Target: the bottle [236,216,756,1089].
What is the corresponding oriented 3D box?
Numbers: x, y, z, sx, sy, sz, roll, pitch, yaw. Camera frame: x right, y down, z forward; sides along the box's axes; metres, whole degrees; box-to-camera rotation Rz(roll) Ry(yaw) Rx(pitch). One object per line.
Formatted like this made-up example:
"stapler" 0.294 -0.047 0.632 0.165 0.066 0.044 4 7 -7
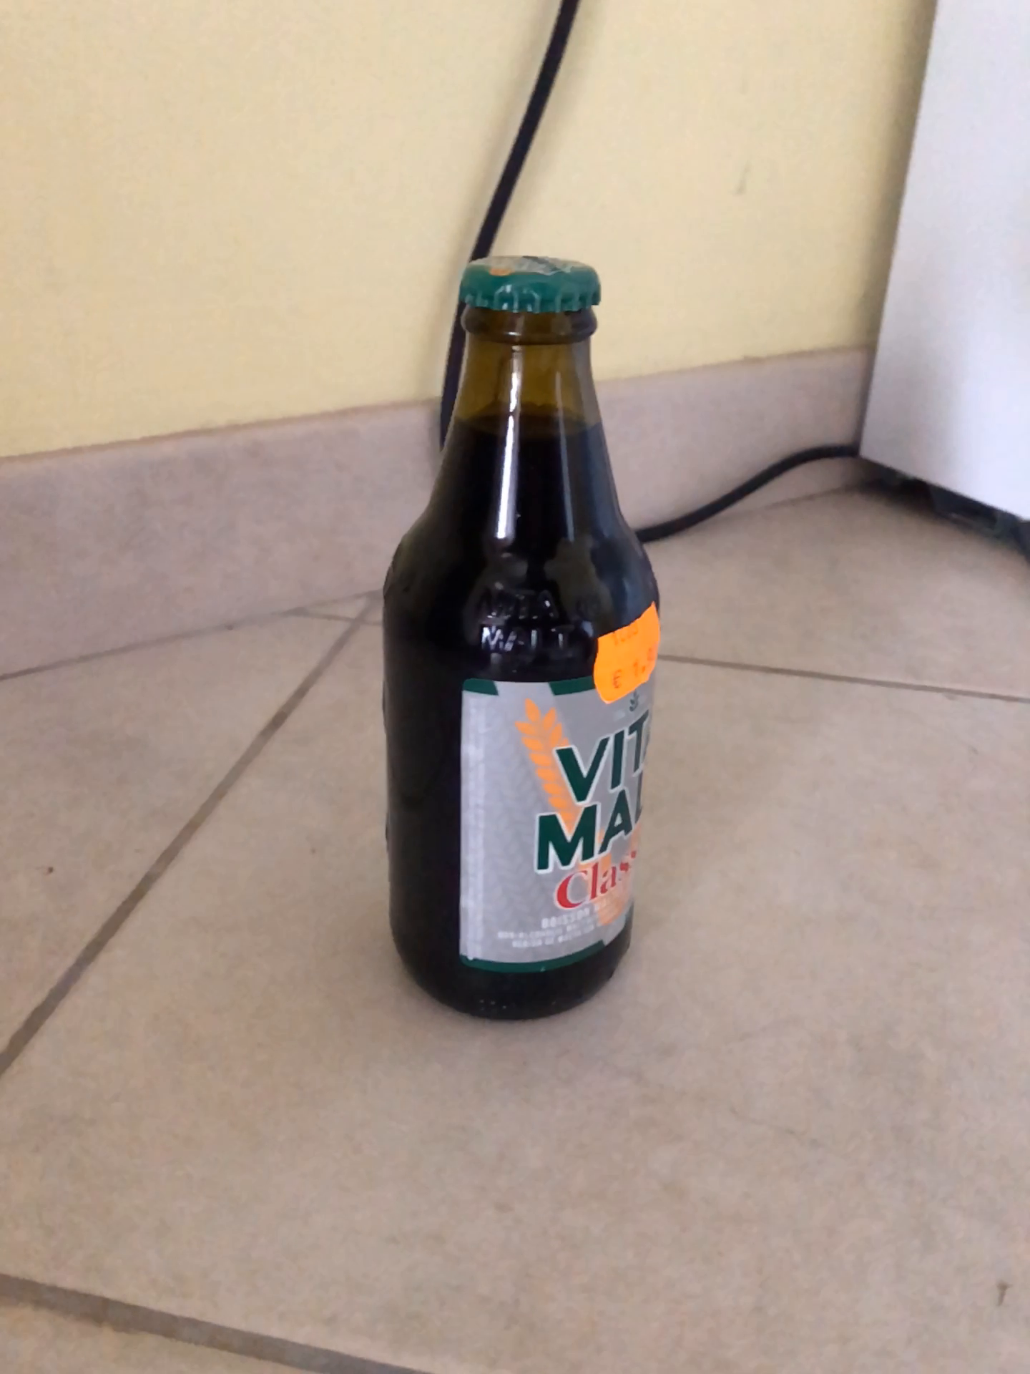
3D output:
"bottle" -0.005 -0.009 0.257 0.070 0.169 0.070 2 29 -1
